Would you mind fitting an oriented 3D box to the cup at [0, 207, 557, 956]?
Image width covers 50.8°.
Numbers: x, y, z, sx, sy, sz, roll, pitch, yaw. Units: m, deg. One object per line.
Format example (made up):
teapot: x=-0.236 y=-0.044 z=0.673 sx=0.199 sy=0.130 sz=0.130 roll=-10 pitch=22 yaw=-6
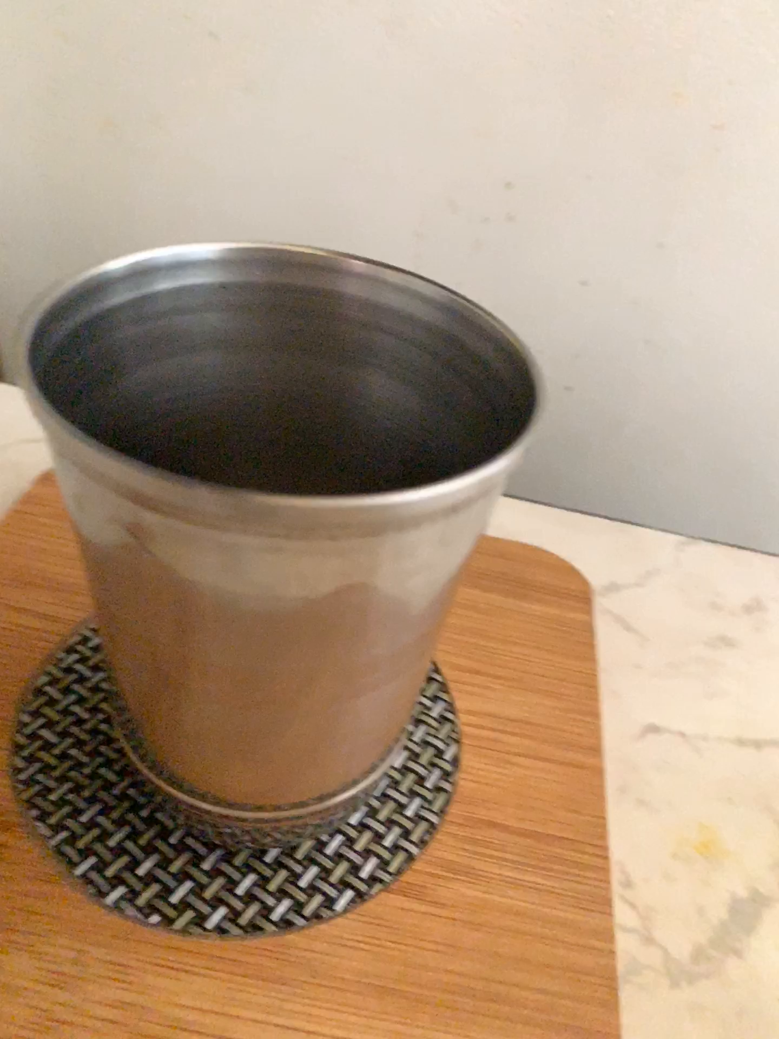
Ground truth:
cup: x=-0.019 y=0.010 z=0.140 sx=0.072 sy=0.091 sz=0.071 roll=6 pitch=39 yaw=-4
